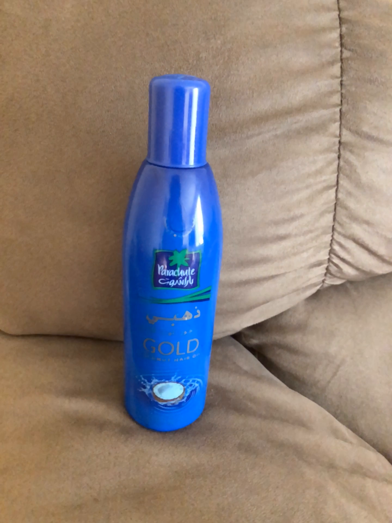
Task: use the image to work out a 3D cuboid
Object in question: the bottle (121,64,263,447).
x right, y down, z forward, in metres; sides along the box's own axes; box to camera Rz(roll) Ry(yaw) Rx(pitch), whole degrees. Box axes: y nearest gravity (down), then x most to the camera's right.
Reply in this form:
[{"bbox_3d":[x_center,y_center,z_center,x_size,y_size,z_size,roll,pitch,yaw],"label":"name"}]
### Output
[{"bbox_3d":[-0.011,0.003,0.217,0.050,0.180,0.050,4,24,-2],"label":"bottle"}]
